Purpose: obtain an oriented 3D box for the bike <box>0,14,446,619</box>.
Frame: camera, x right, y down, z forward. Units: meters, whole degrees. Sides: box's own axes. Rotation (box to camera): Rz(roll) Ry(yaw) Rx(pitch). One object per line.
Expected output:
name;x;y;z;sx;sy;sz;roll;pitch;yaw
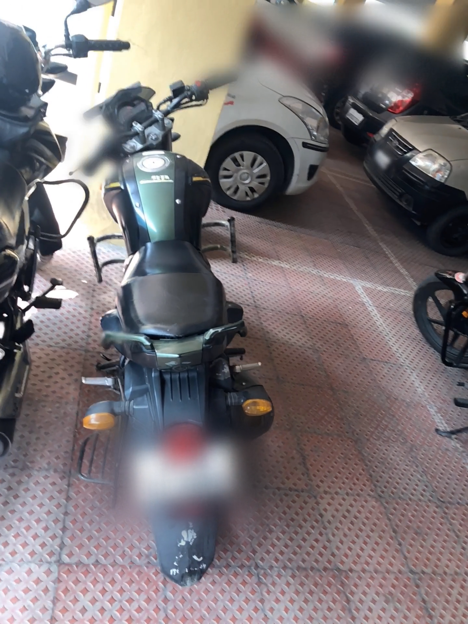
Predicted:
bike;-0.409;-0.183;1.731;0.739;1.090;1.815;8;32;-23
